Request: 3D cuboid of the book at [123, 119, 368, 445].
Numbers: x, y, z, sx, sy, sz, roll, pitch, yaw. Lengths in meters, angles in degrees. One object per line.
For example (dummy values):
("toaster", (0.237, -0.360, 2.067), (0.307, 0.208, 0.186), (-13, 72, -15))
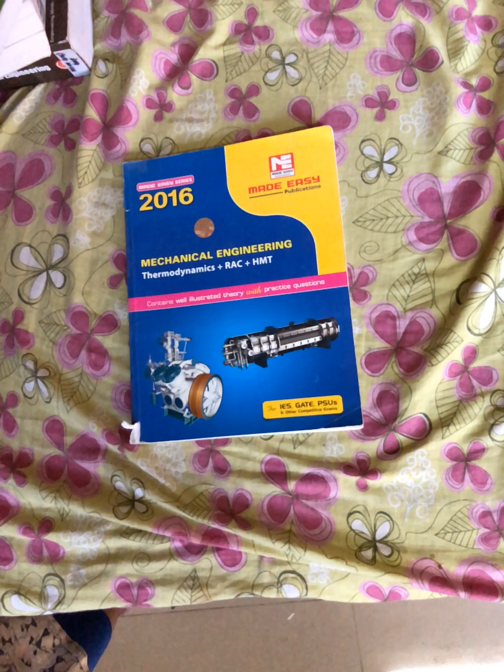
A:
("book", (-0.013, -0.045, 0.507), (0.200, 0.030, 0.269), (-7, 80, 13))
